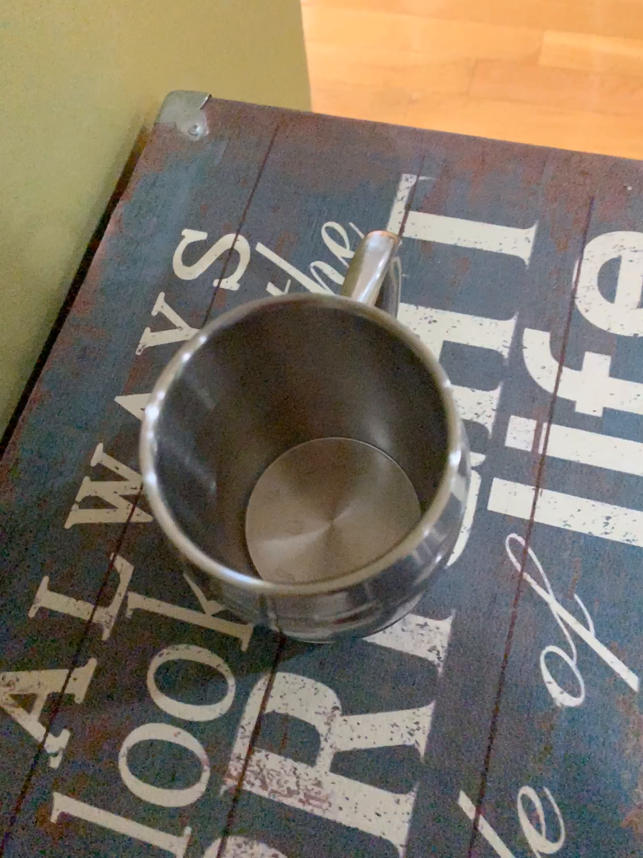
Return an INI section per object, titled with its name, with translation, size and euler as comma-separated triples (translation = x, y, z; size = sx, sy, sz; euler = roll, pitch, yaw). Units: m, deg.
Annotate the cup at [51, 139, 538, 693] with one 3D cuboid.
[cup]
translation = 0.003, 0.004, 0.216
size = 0.088, 0.114, 0.129
euler = 12, 72, 10
